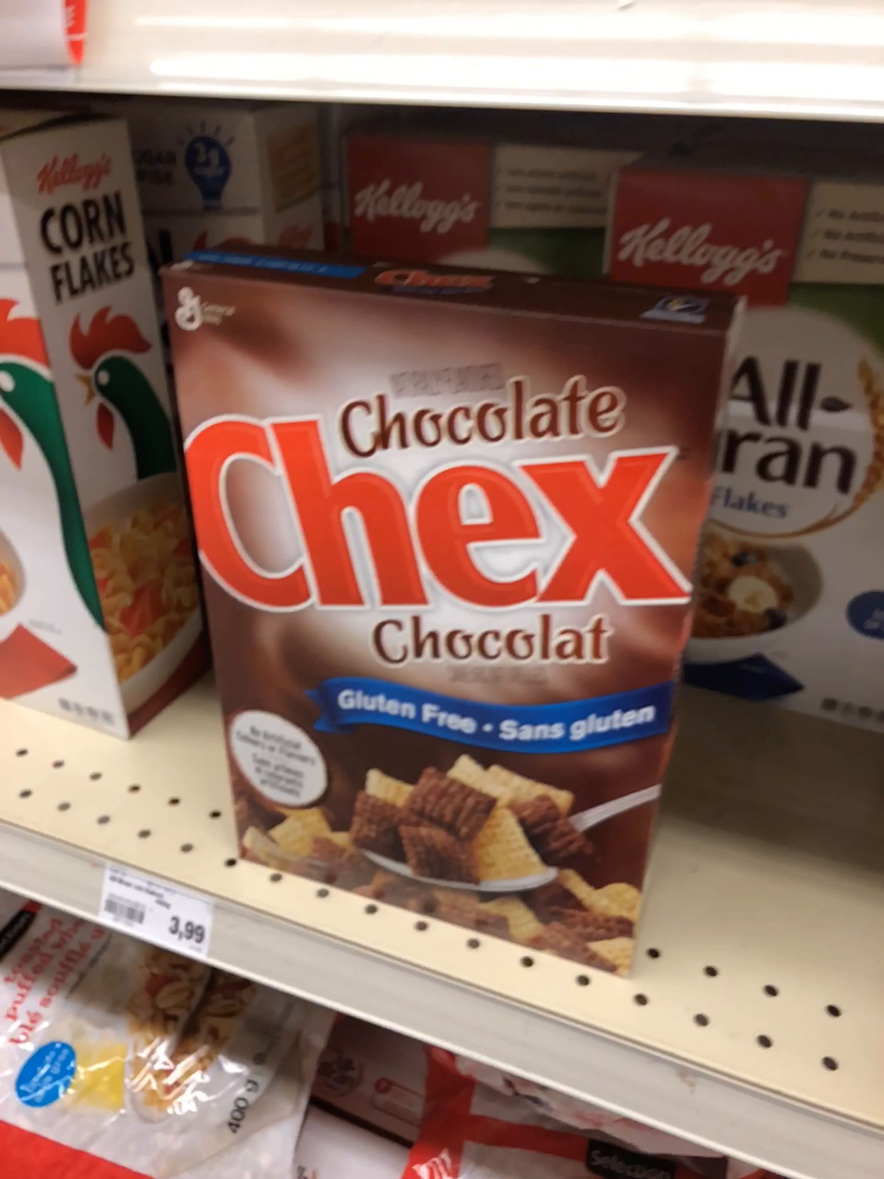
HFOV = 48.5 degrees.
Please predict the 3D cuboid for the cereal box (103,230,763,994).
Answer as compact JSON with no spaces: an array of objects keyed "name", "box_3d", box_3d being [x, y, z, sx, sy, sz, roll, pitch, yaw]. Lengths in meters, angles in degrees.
[{"name":"cereal box","box_3d":[-0.007,0.016,0.389,0.210,0.278,0.050,12,33,19]}]
